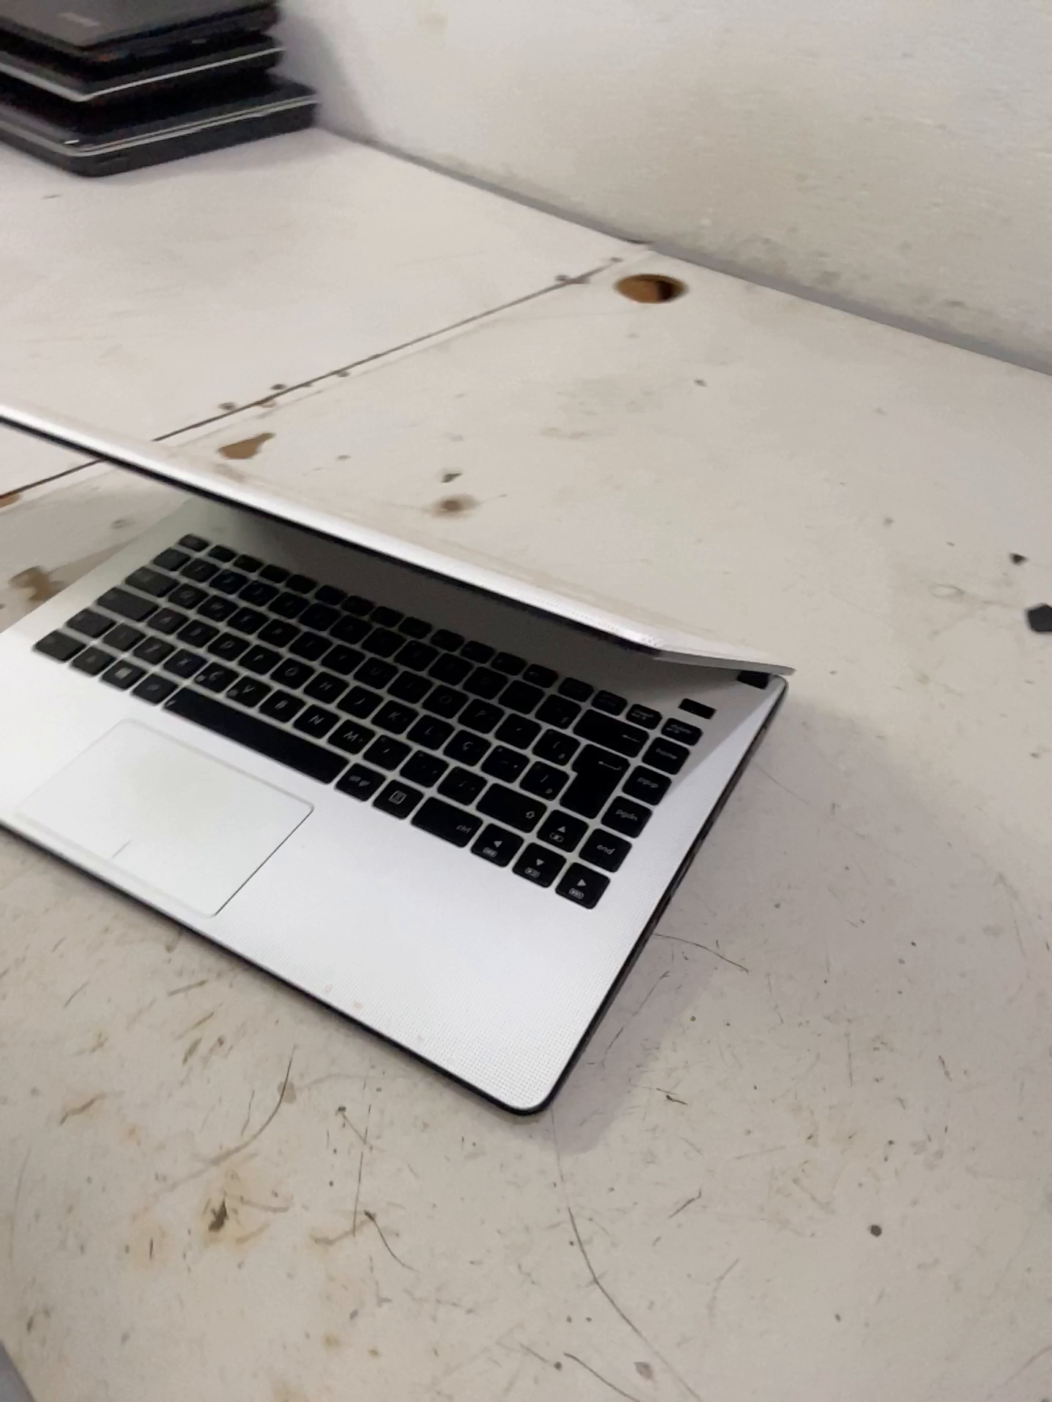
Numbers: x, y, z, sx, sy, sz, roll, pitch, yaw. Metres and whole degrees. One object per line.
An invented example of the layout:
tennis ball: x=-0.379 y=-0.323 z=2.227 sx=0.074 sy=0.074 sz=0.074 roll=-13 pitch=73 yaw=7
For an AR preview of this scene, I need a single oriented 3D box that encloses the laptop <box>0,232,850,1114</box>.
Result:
laptop: x=-0.088 y=-0.048 z=0.441 sx=0.343 sy=0.141 sz=0.237 roll=21 pitch=48 yaw=22
